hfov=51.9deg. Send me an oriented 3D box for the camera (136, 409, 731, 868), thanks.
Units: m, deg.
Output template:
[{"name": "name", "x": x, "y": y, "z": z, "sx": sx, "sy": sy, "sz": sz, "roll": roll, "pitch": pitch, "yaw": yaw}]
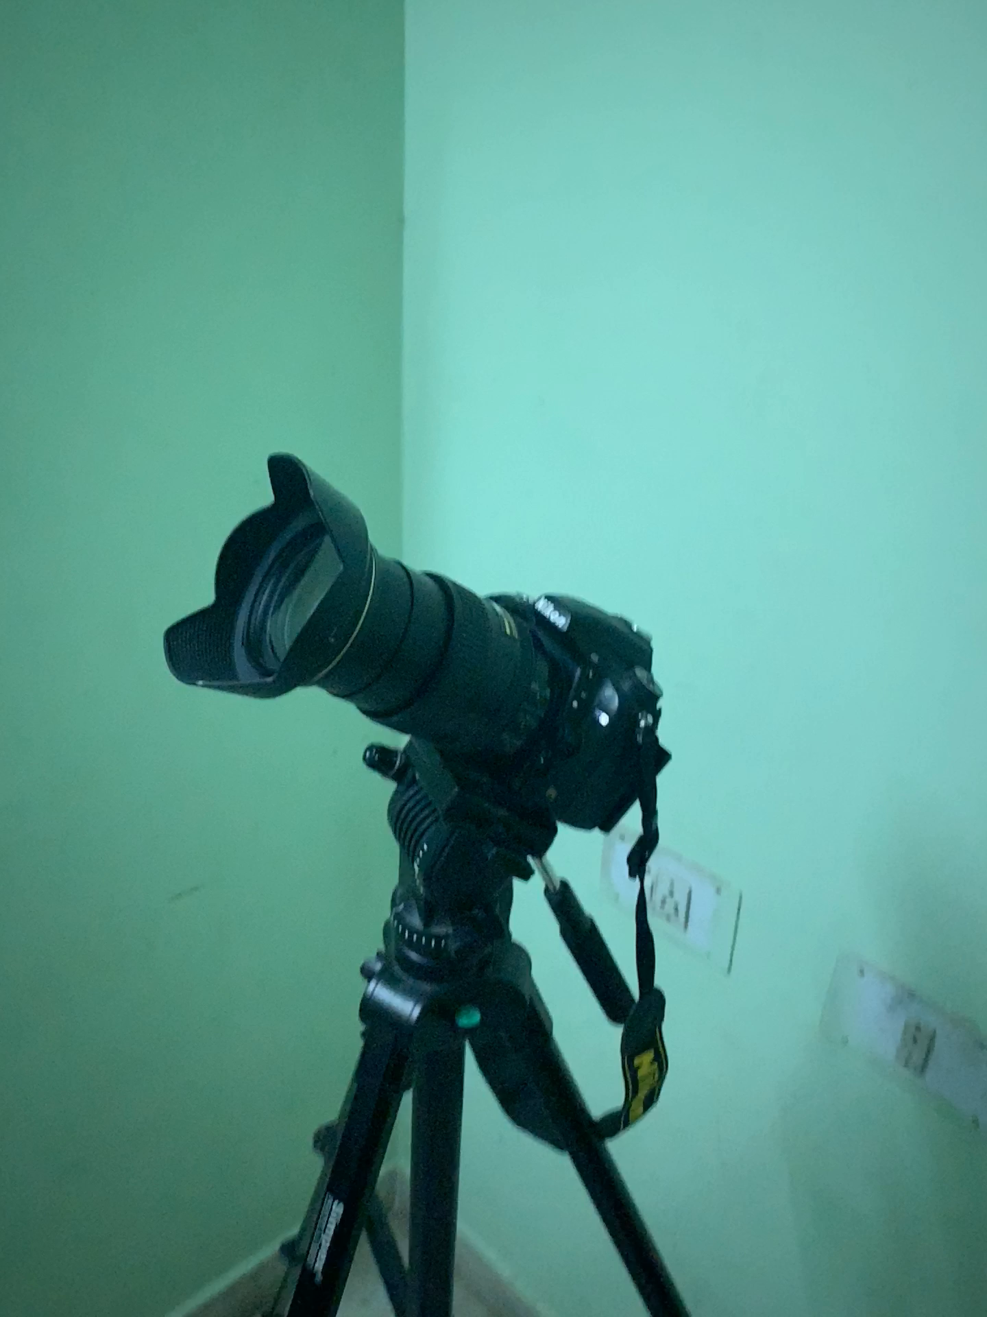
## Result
[{"name": "camera", "x": -0.031, "y": -0.005, "z": 0.533, "sx": 0.248, "sy": 0.120, "sz": 0.152, "roll": 22, "pitch": 12, "yaw": -36}]
